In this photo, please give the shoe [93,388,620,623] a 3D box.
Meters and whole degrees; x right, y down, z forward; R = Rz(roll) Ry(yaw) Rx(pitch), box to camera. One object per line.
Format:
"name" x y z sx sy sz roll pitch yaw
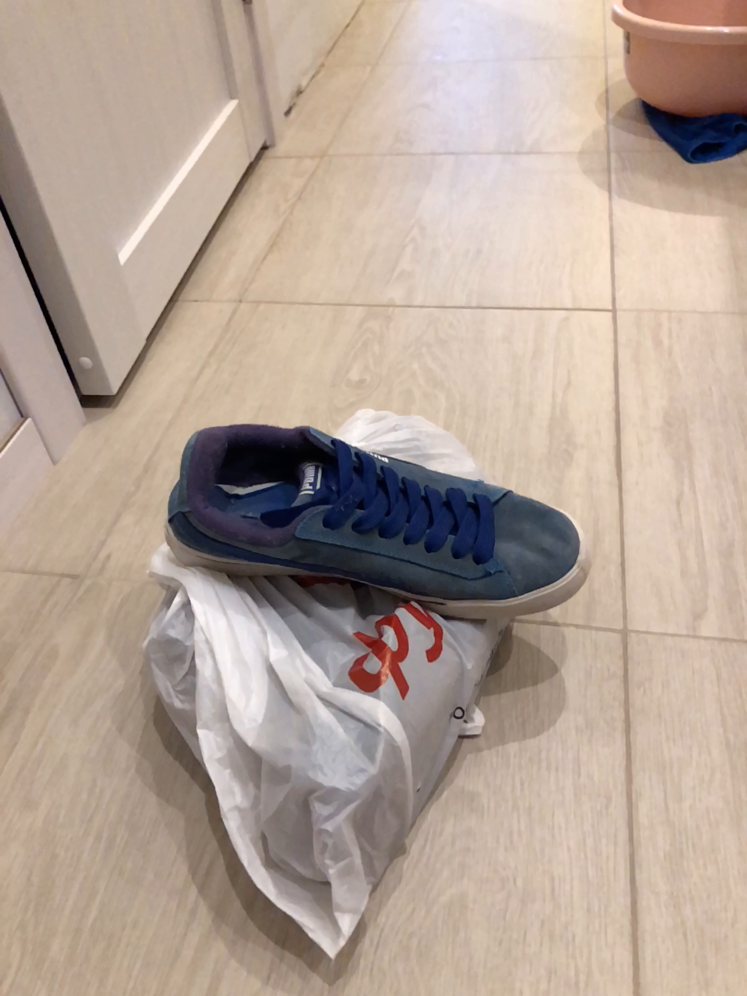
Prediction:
"shoe" -0.007 0.006 0.536 0.300 0.099 0.111 0 51 7
